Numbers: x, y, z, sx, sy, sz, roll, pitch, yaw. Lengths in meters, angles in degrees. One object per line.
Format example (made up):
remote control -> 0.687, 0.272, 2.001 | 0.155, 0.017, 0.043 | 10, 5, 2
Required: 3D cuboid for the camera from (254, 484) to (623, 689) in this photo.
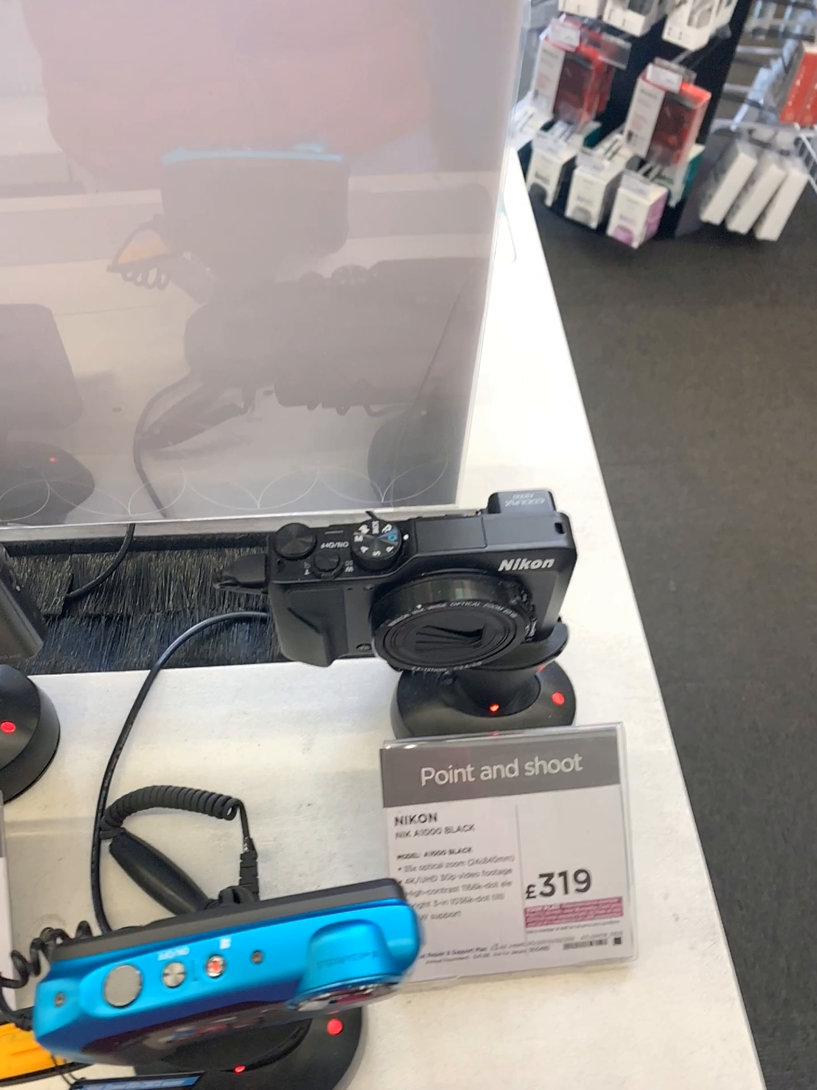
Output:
camera -> 0.008, 0.017, 0.311 | 0.120, 0.079, 0.030 | -3, 55, -6
